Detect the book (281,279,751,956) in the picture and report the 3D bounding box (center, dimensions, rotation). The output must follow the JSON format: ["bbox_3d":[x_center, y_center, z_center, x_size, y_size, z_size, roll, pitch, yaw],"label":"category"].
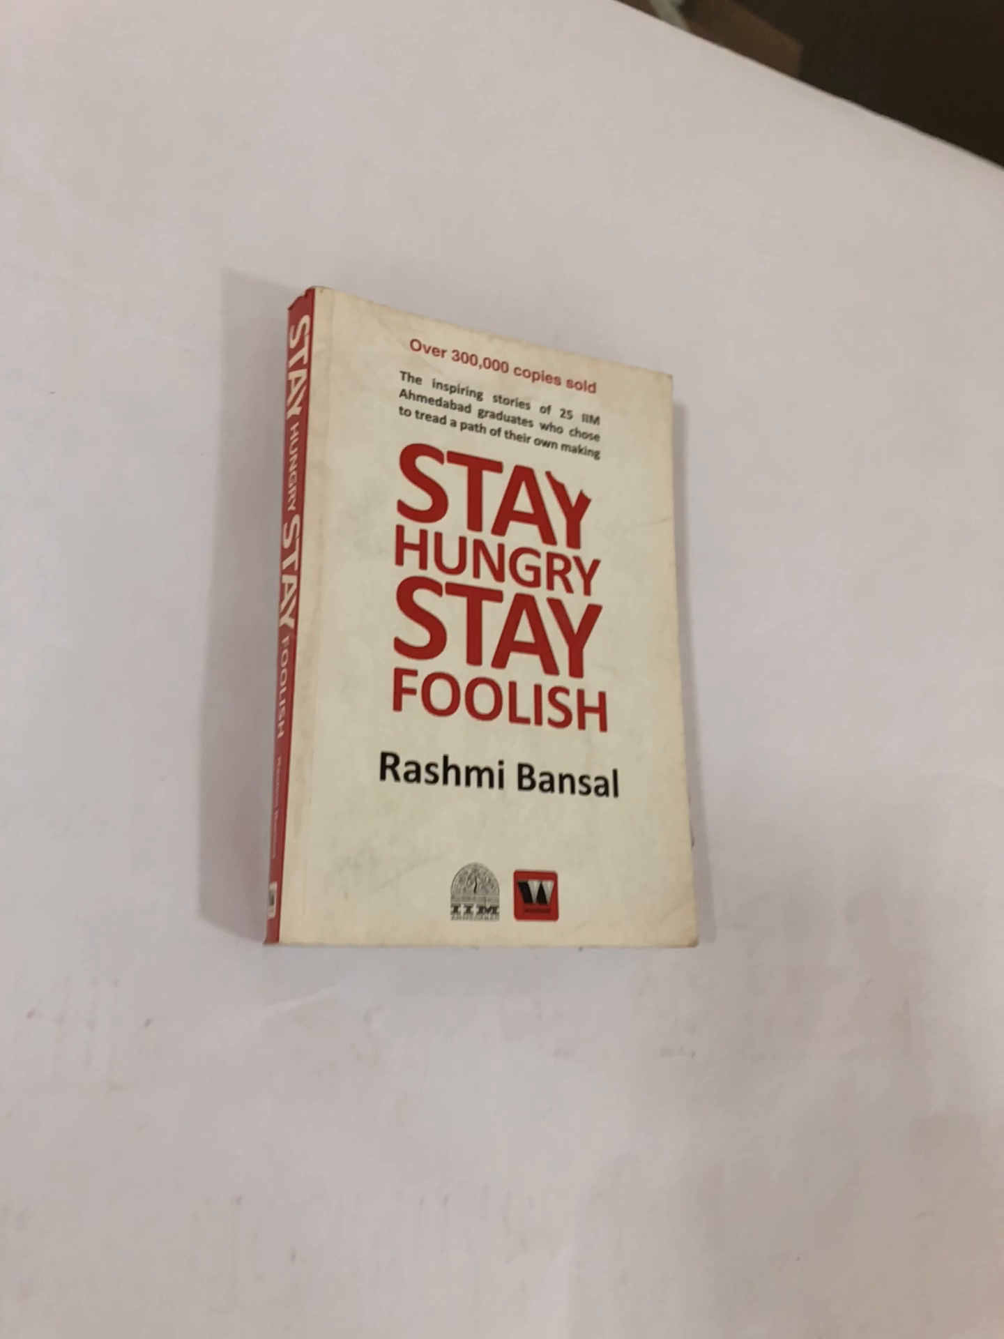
[{"bbox_3d":[0.005,-0.010,0.346,0.130,0.040,0.190,7,72,-25],"label":"book"}]
